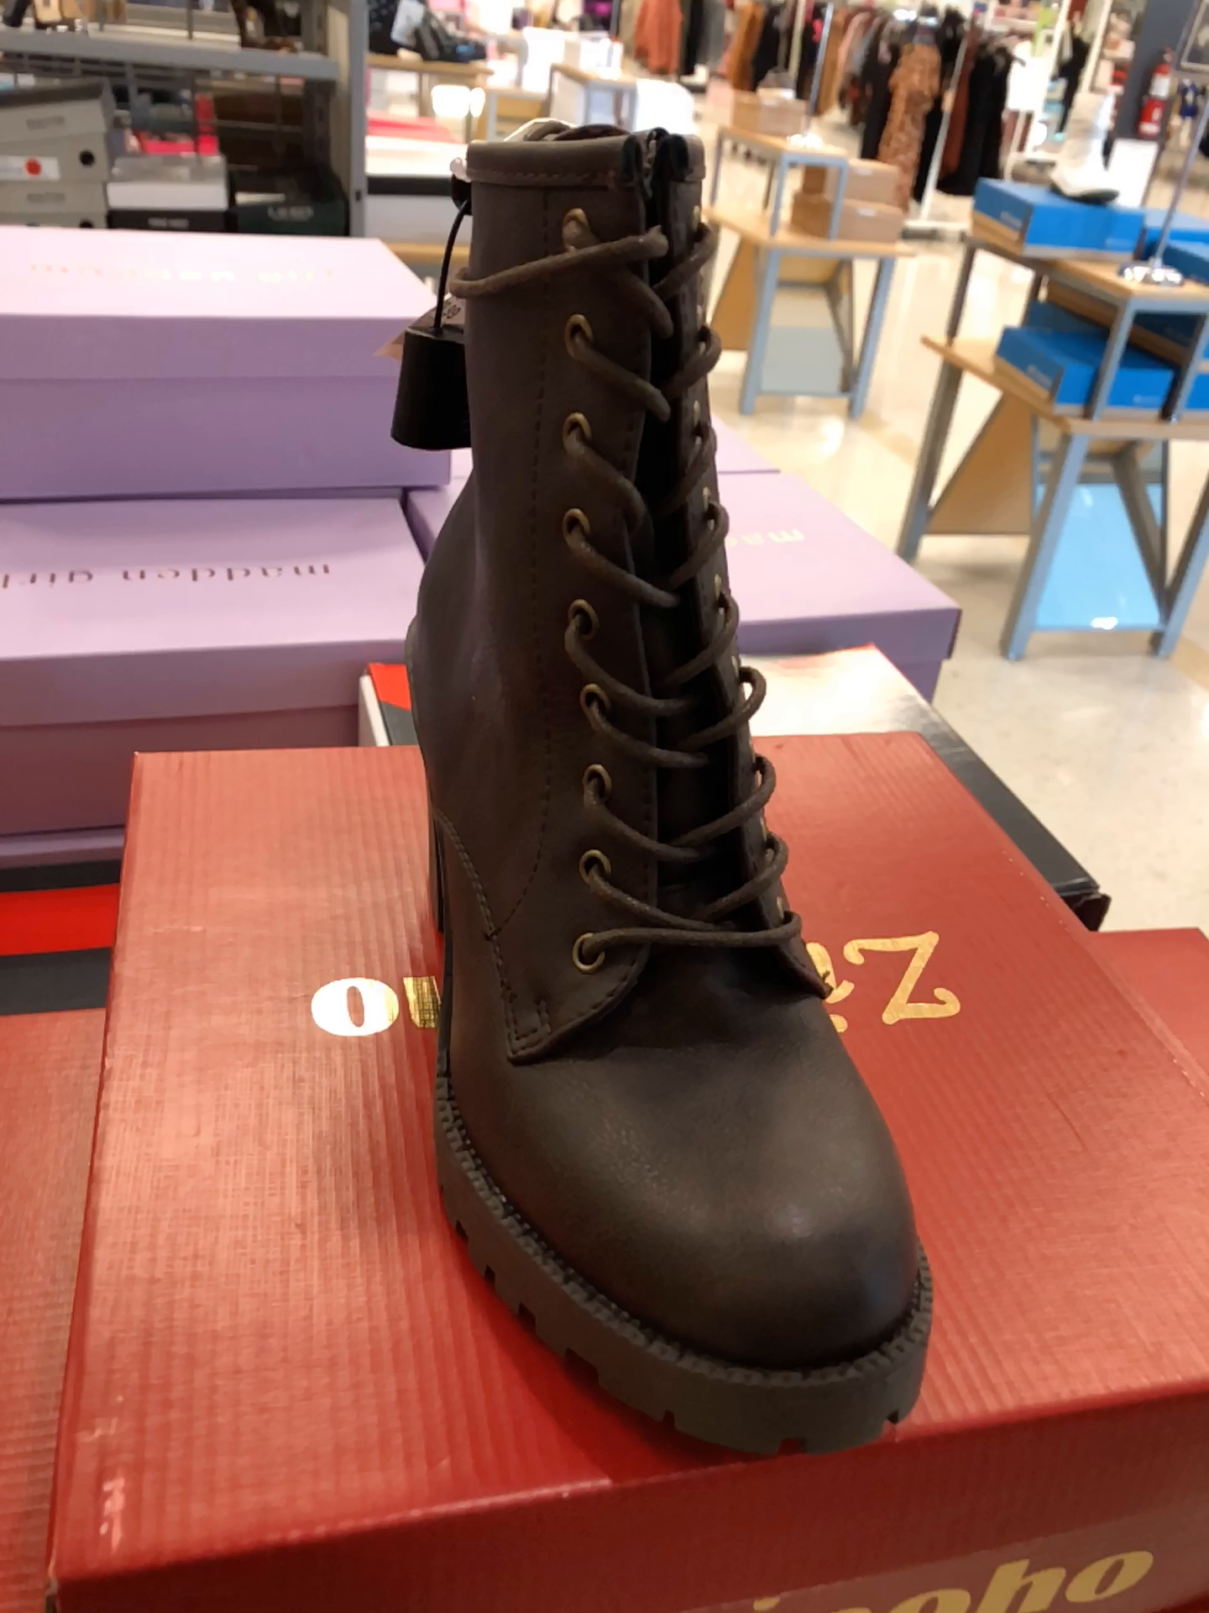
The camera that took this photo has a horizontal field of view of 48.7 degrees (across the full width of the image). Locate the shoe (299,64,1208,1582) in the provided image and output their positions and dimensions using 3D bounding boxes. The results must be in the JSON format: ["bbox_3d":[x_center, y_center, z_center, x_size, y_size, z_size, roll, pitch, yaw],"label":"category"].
[{"bbox_3d":[0.003,-0.022,0.294,0.100,0.218,0.242,-5,34,-20],"label":"shoe"}]
